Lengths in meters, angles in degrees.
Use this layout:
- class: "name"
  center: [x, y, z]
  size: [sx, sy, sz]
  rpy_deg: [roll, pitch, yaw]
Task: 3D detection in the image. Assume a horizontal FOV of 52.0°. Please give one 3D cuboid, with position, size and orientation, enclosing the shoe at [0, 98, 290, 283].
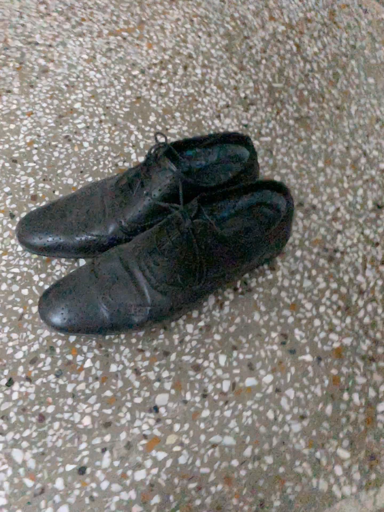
- class: "shoe"
  center: [-0.057, -0.081, 0.484]
  size: [0.320, 0.100, 0.100]
  rpy_deg: [-18, 63, -9]

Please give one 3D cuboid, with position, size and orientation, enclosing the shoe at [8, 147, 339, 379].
- class: "shoe"
  center: [-0.013, 0.005, 0.437]
  size: [0.320, 0.100, 0.100]
  rpy_deg: [-25, 64, -12]
